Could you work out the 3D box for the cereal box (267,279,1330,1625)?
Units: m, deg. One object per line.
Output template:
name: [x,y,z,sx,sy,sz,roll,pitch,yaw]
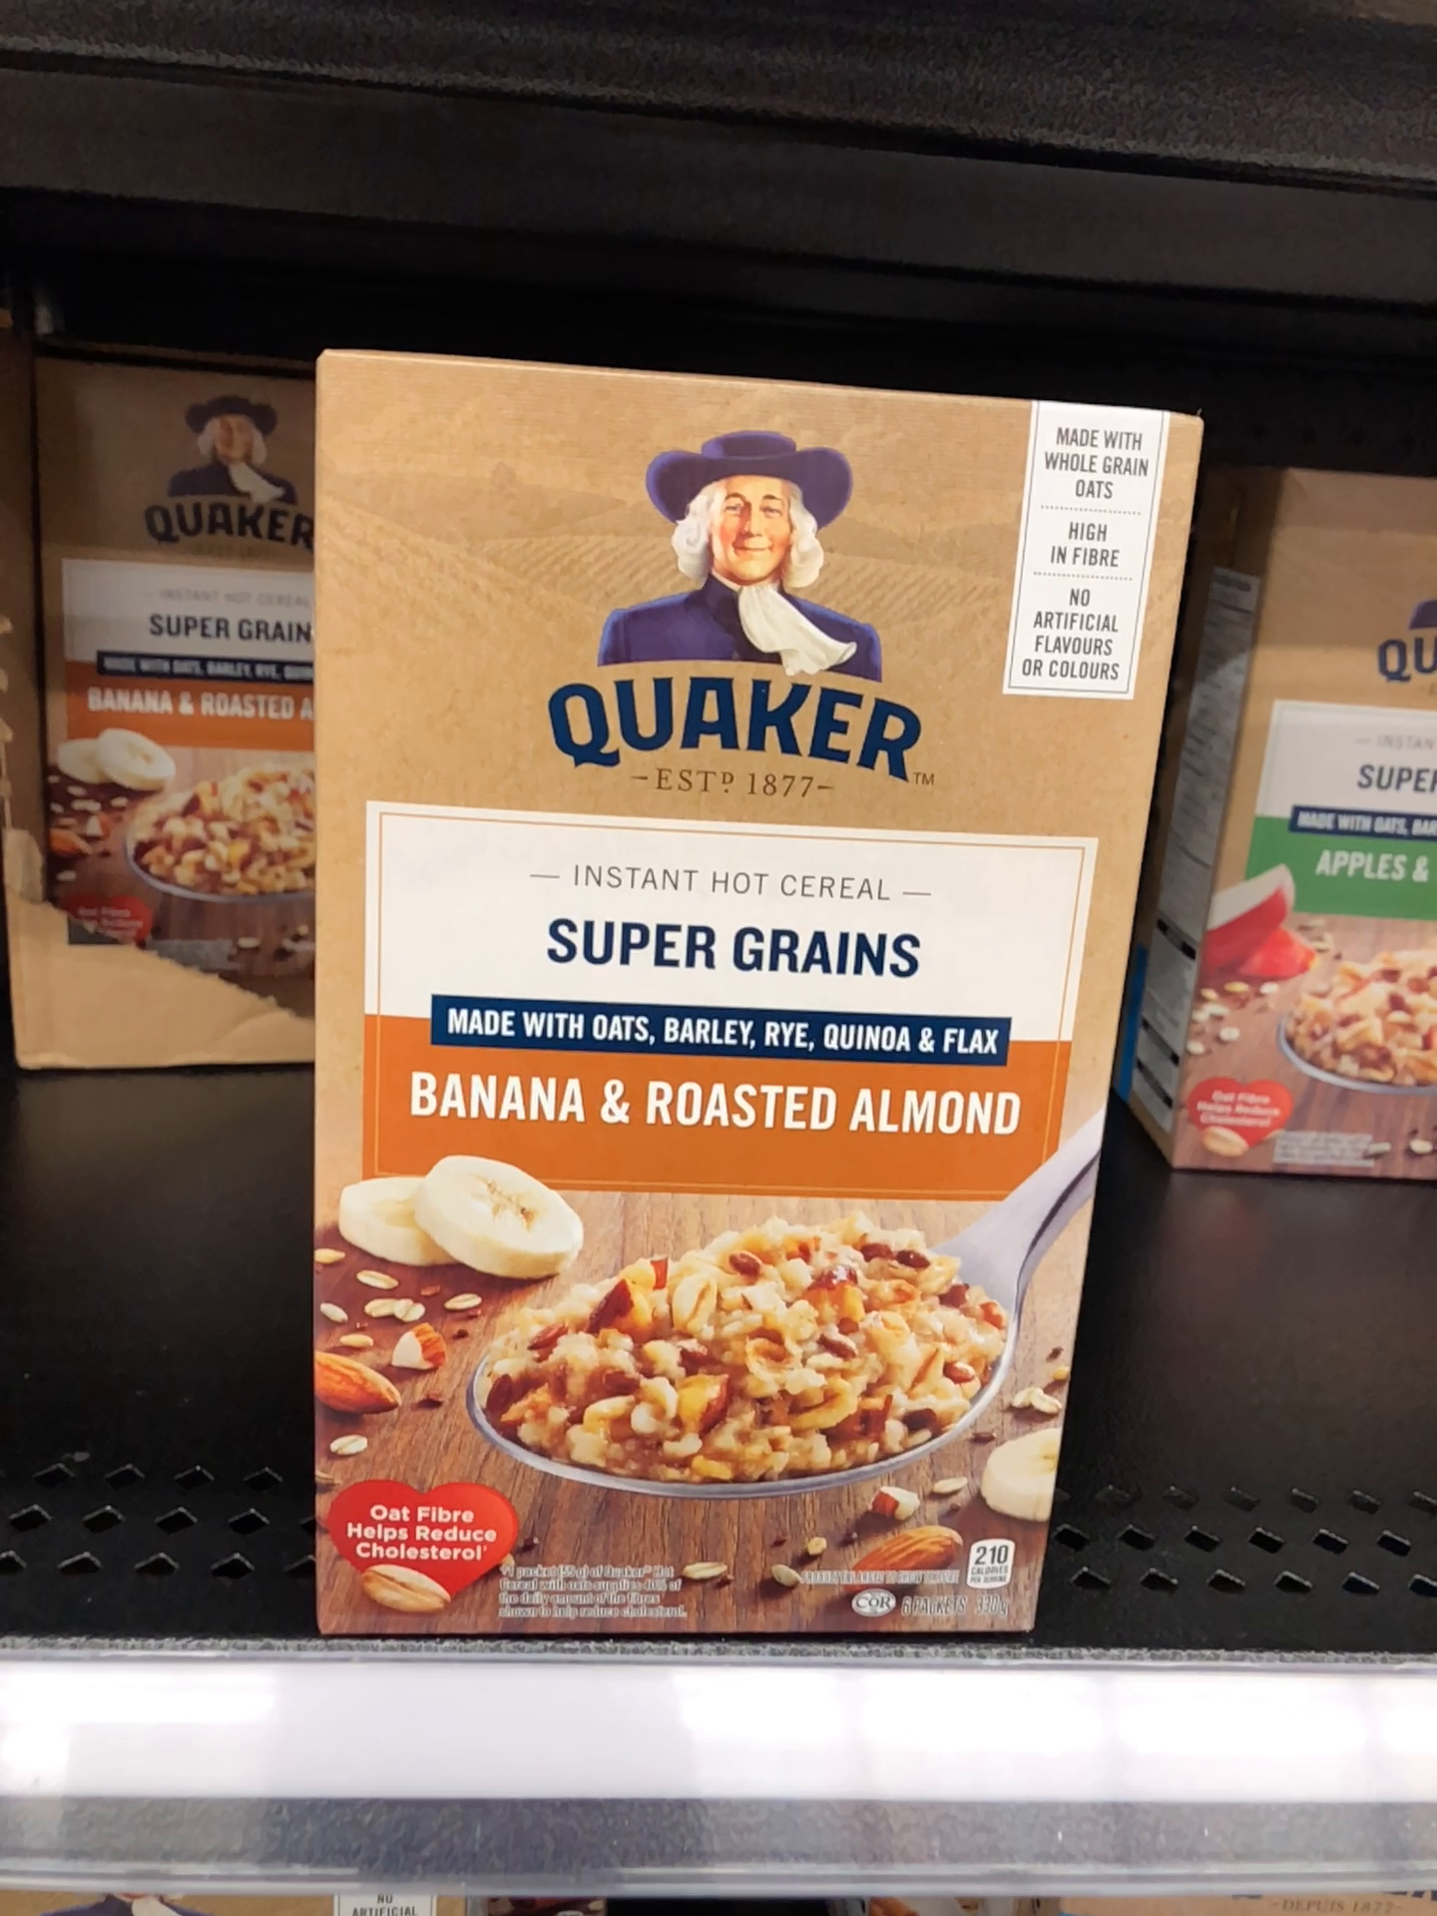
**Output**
cereal box: [0.002,0.002,0.254,0.130,0.189,0.070,2,18,-6]
